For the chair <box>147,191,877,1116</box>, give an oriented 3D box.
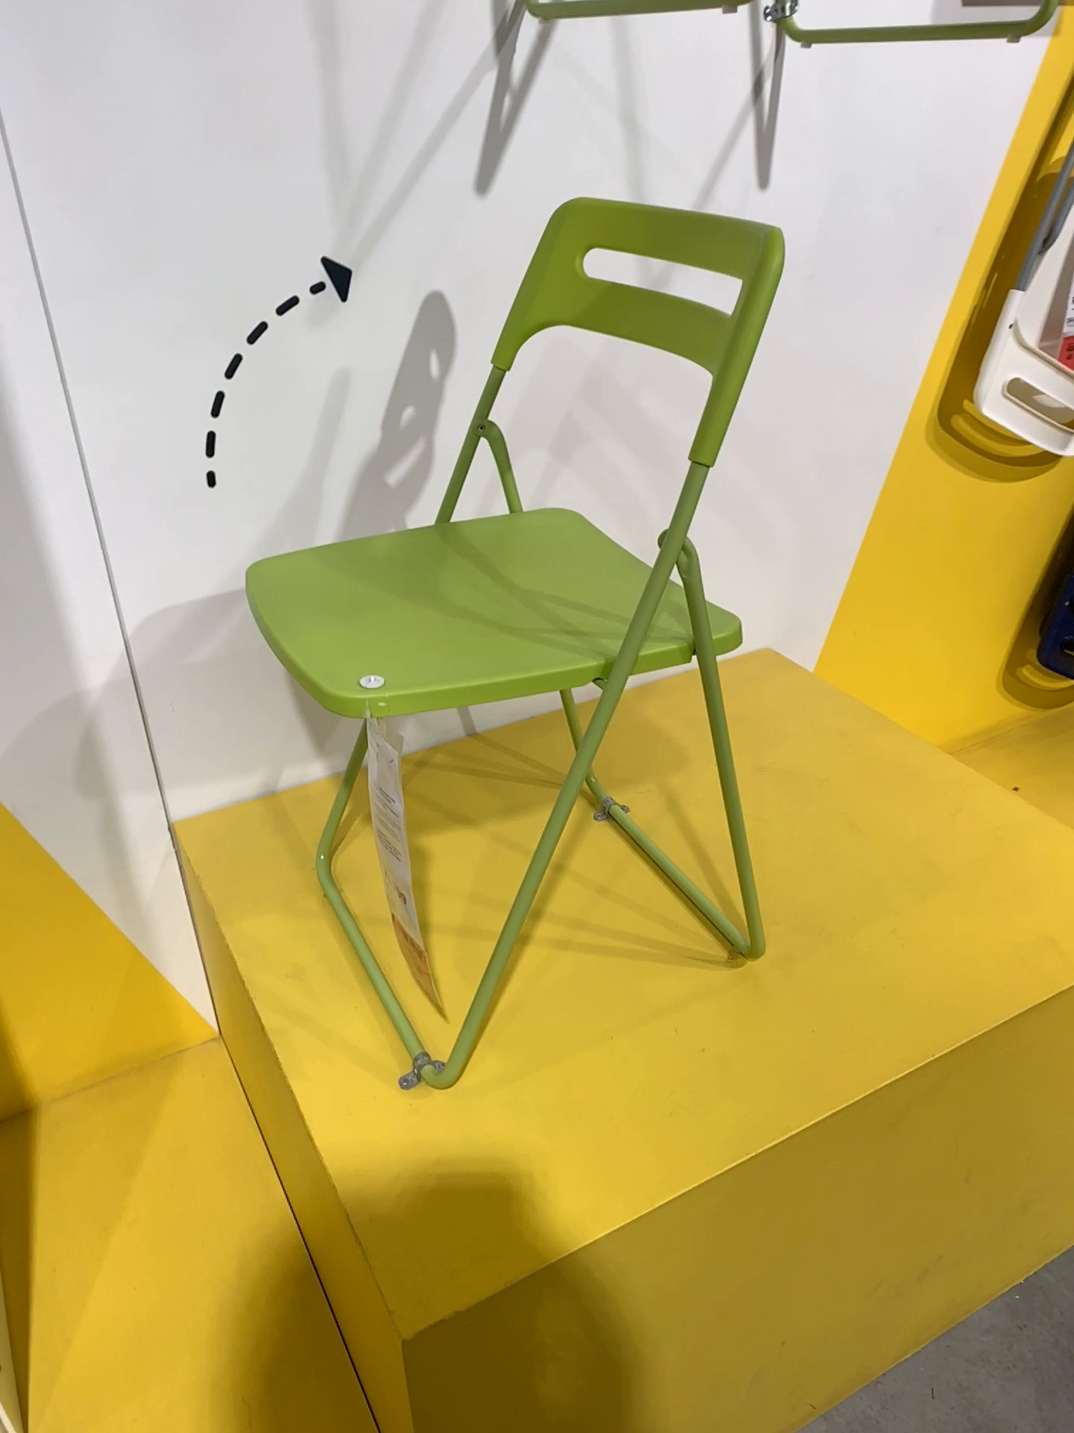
[{"bbox_3d":[-0.041,-0.098,1.095,0.460,0.717,0.452,-16,33,-23],"label":"chair"}]
